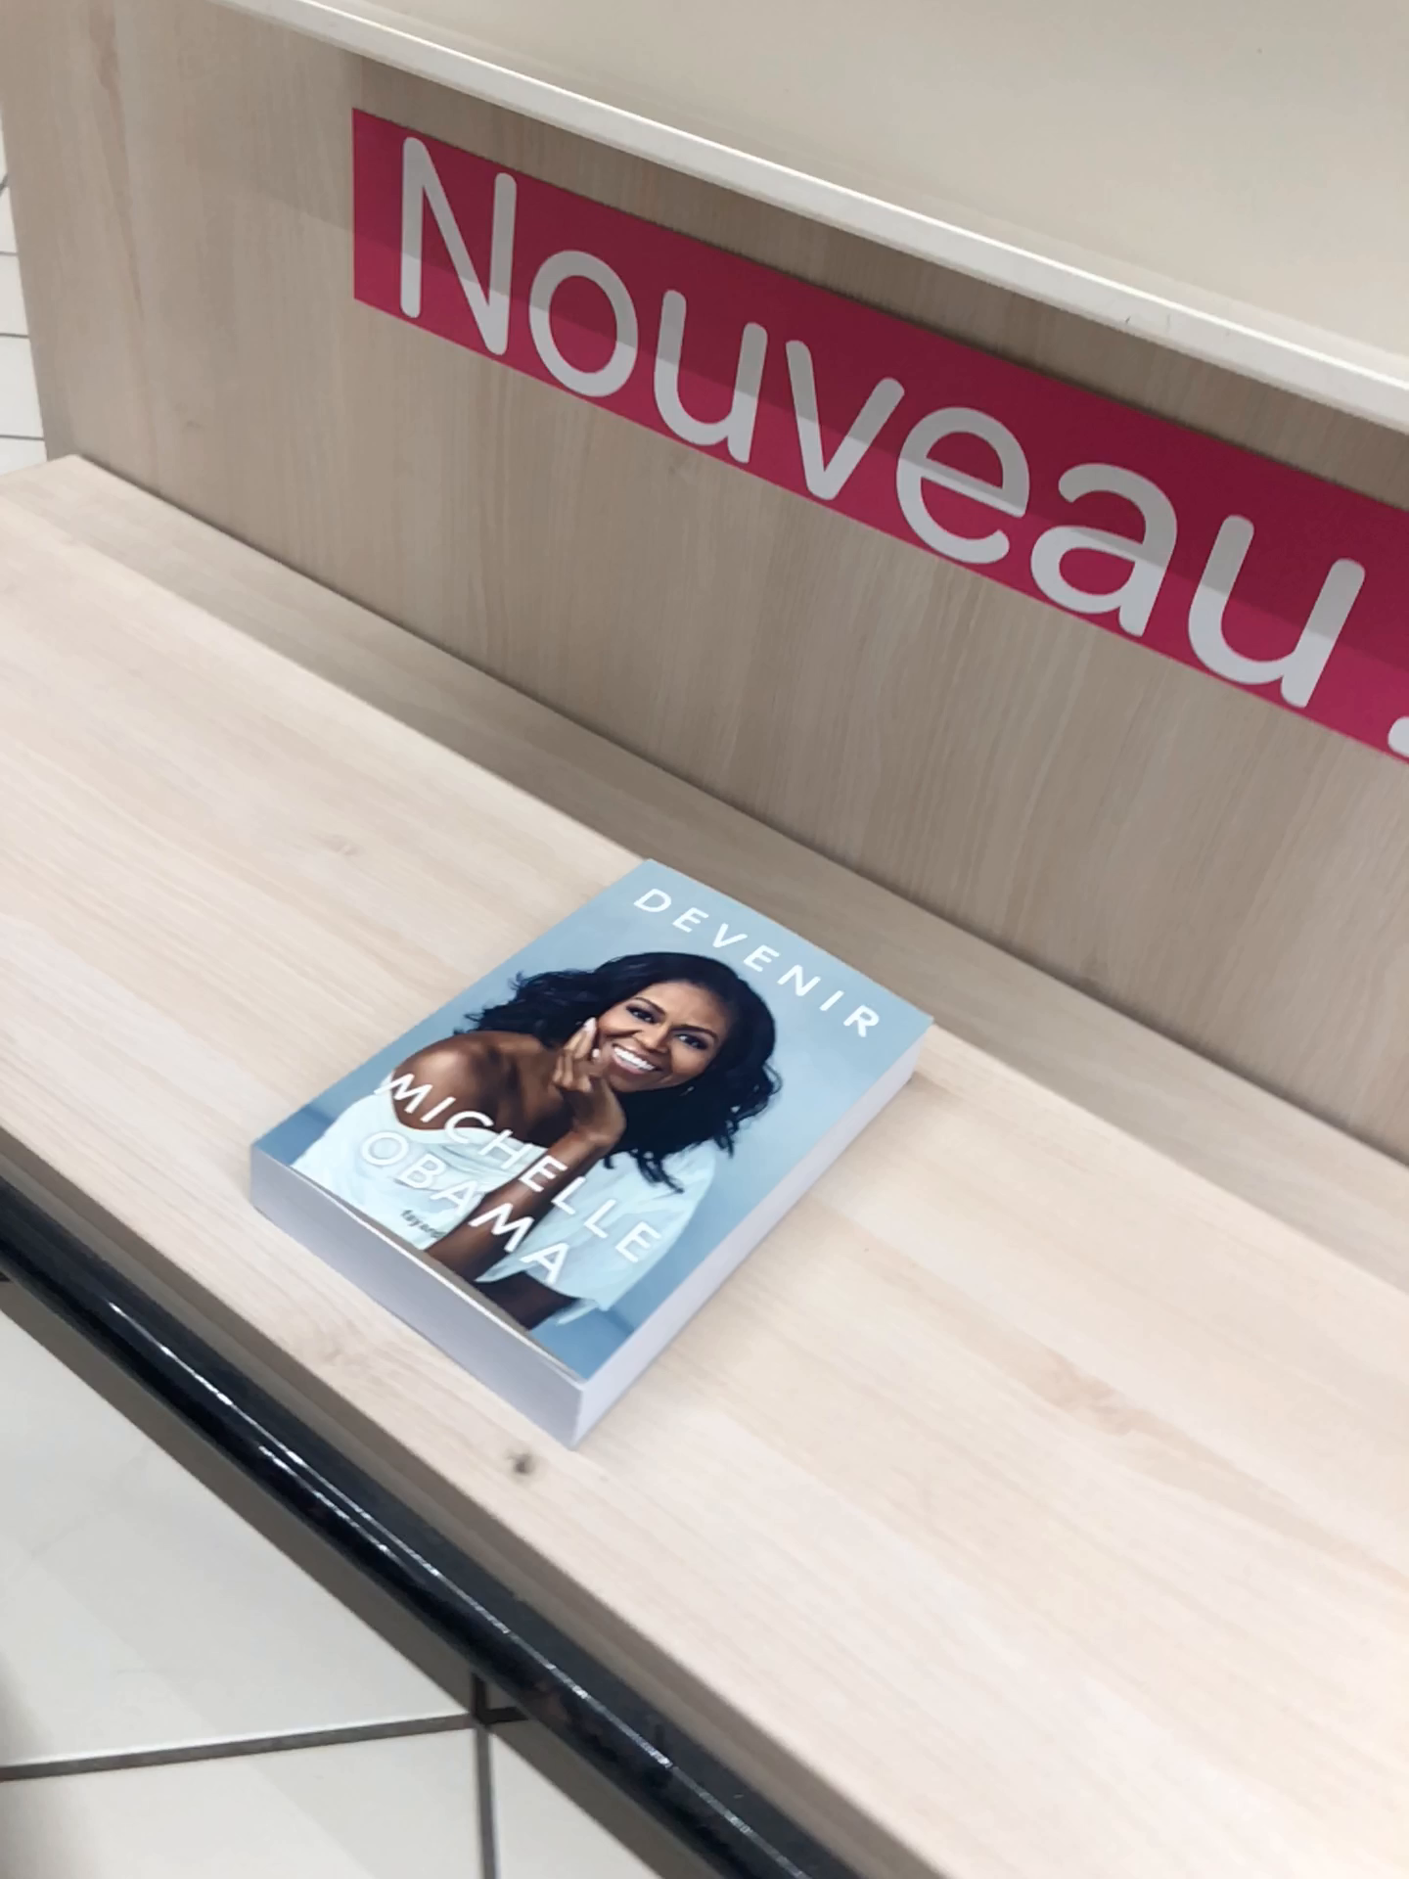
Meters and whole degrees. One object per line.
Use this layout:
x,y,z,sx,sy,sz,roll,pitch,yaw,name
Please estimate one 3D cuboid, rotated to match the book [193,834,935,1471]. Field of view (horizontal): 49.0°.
-0.044,0.062,0.596,0.163,0.040,0.242,30,44,22,book
